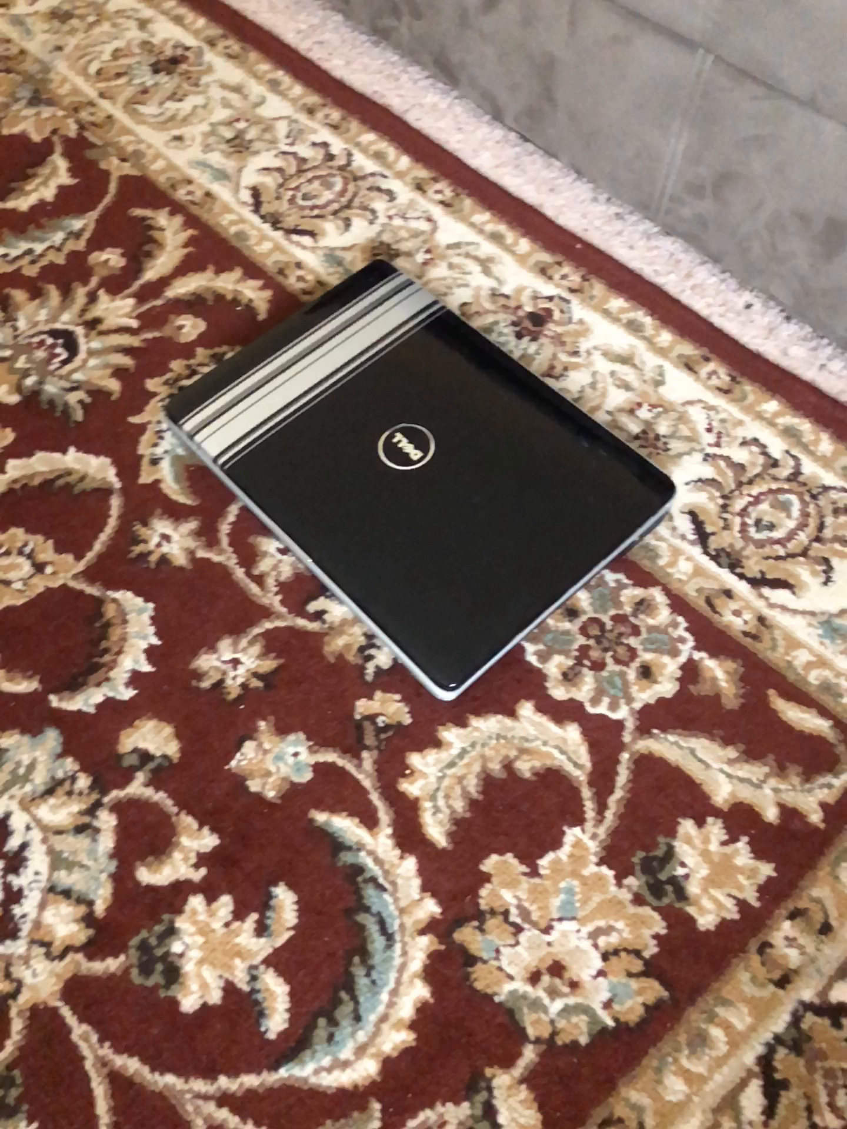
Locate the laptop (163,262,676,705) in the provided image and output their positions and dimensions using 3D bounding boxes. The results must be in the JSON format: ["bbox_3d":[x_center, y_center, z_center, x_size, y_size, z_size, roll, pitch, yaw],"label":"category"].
[{"bbox_3d":[-0.012,-0.089,0.757,0.242,0.015,0.351,-40,66,-17],"label":"laptop"}]
